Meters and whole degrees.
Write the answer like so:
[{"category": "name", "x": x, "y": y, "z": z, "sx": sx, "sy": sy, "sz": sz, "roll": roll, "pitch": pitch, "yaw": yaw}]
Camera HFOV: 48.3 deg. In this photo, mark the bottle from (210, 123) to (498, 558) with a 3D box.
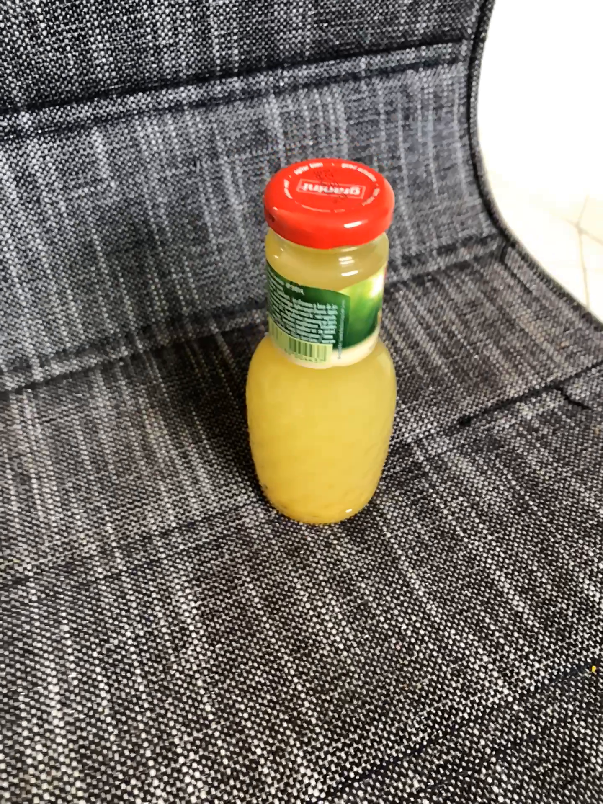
[{"category": "bottle", "x": 0.012, "y": -0.016, "z": 0.263, "sx": 0.070, "sy": 0.149, "sz": 0.070, "roll": 0, "pitch": 47, "yaw": 0}]
